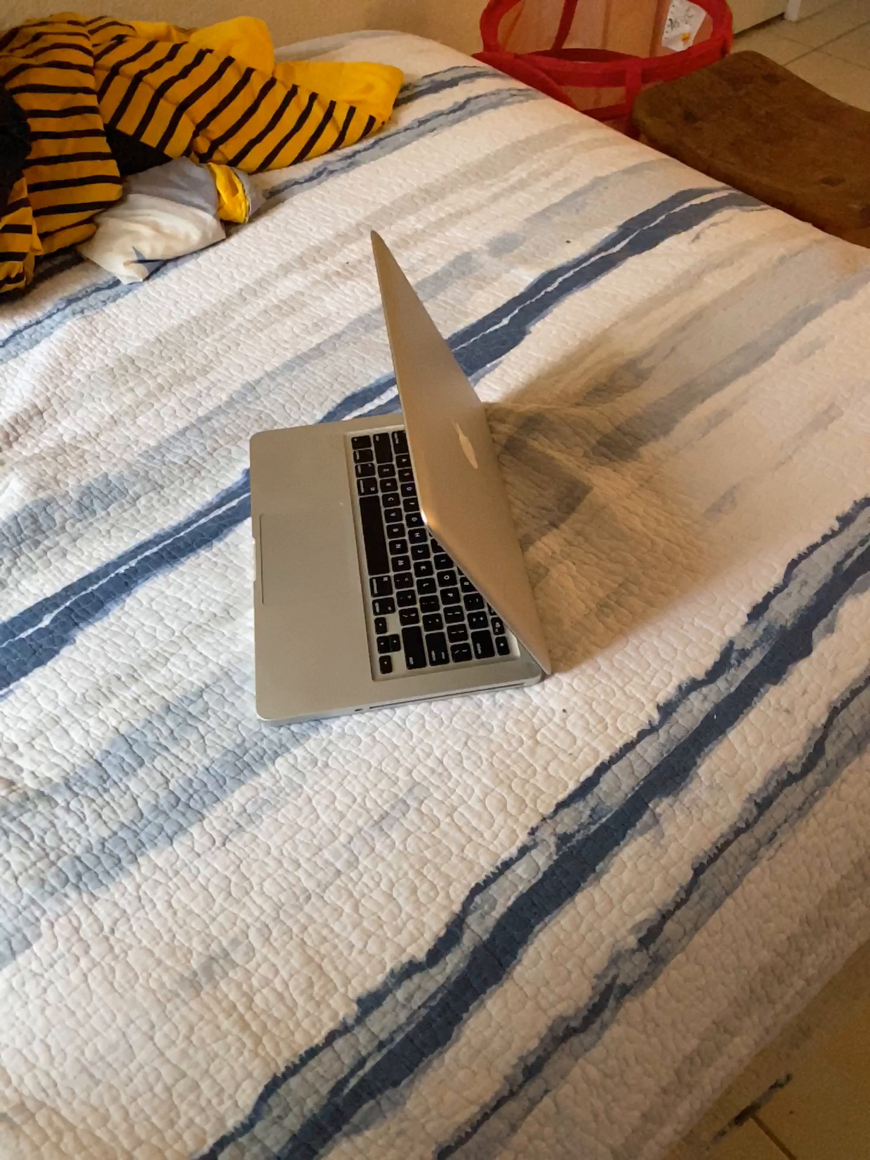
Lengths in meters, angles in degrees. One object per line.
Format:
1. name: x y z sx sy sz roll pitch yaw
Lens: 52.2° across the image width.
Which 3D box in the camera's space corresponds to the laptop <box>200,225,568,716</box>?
1. laptop: -0.050 -0.093 0.698 0.220 0.191 0.316 -8 52 -3
